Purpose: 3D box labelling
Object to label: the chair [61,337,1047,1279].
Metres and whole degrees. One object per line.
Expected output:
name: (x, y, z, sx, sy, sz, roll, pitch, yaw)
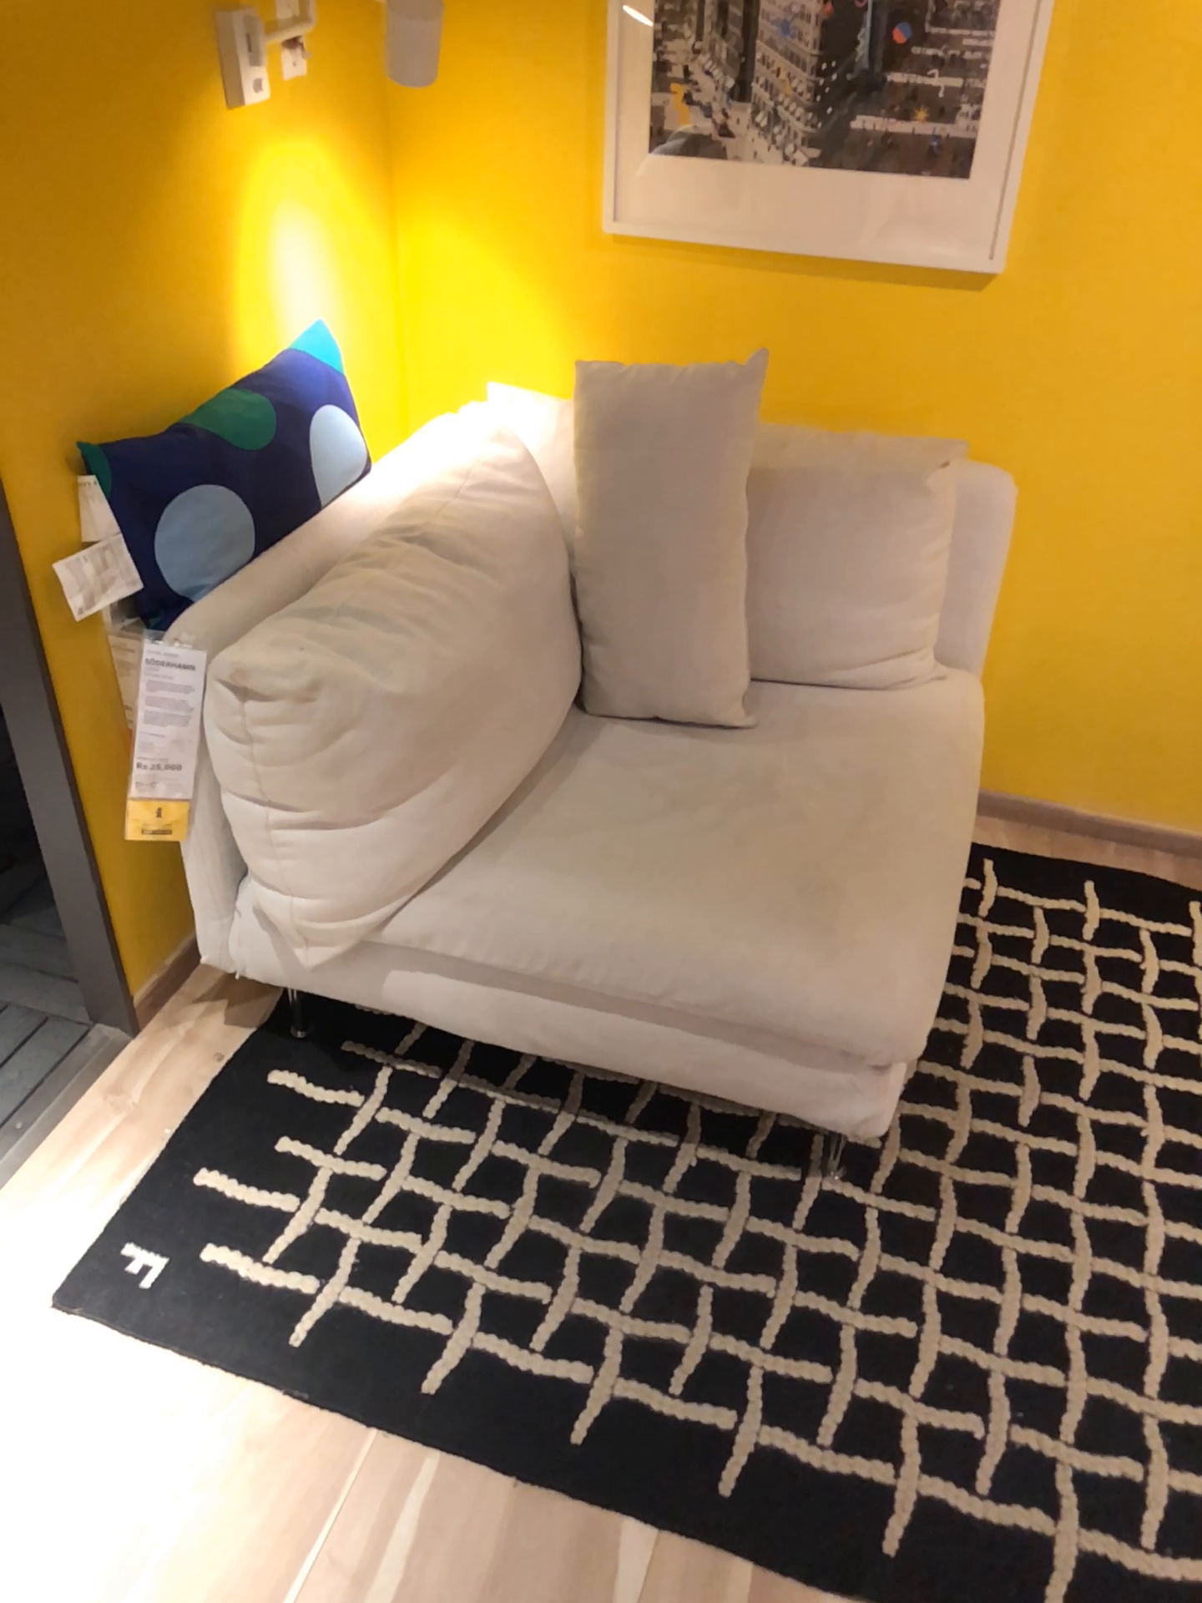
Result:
chair: (0.047, -0.115, 1.986, 1.011, 0.755, 1.117, 11, 36, 15)
